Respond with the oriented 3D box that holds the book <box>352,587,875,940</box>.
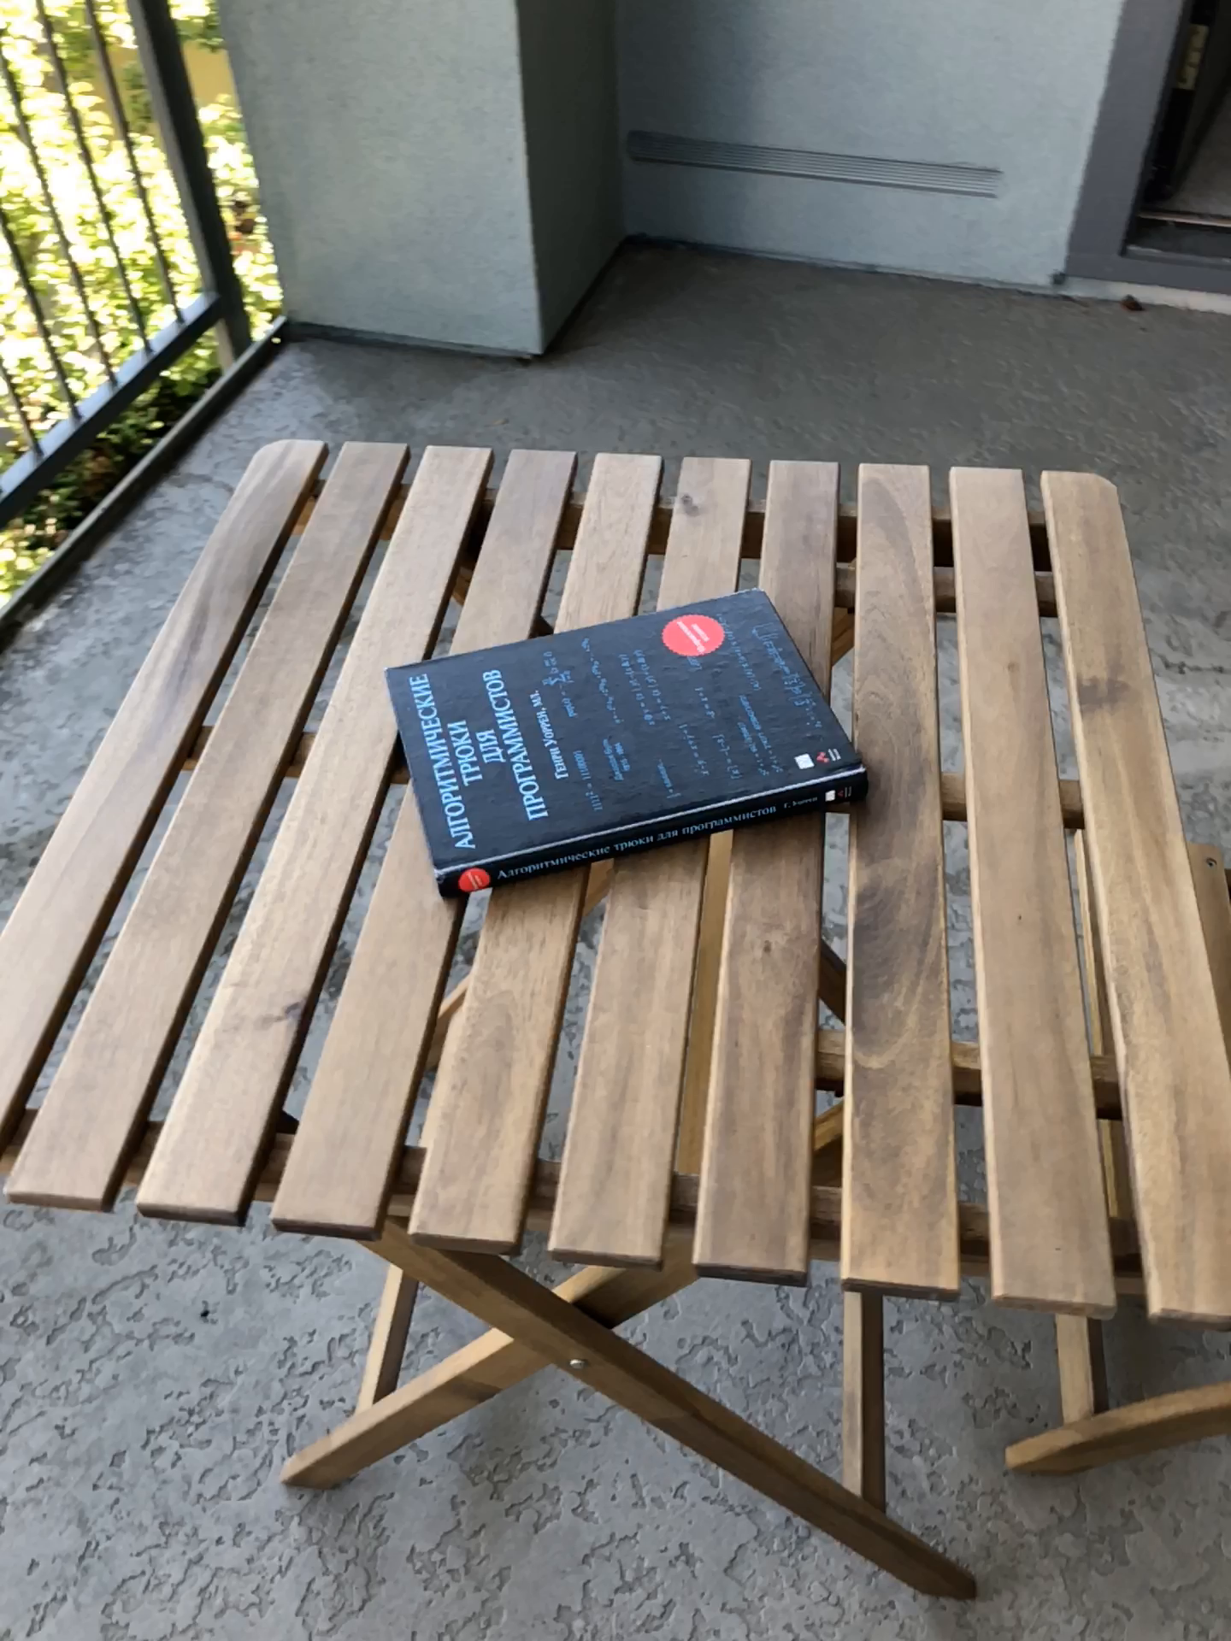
[{"bbox_3d":[-0.008,-0.041,0.768,0.250,0.030,0.181,-13,49,-10],"label":"book"}]
